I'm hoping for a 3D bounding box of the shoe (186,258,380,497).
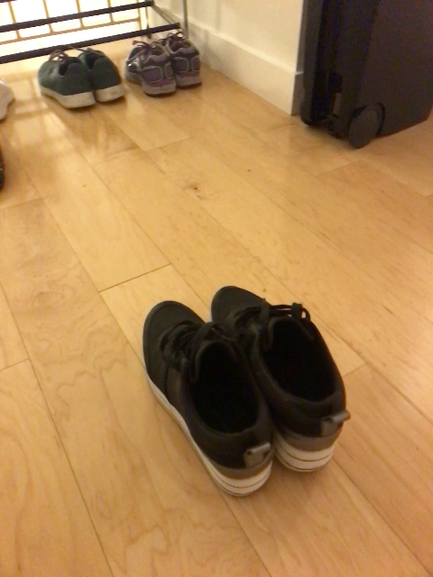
[{"bbox_3d":[0.061,0.089,0.557,0.110,0.099,0.251,-17,45,-16],"label":"shoe"}]

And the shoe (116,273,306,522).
[{"bbox_3d":[-0.018,0.108,0.535,0.100,0.099,0.251,-20,46,-19],"label":"shoe"}]
